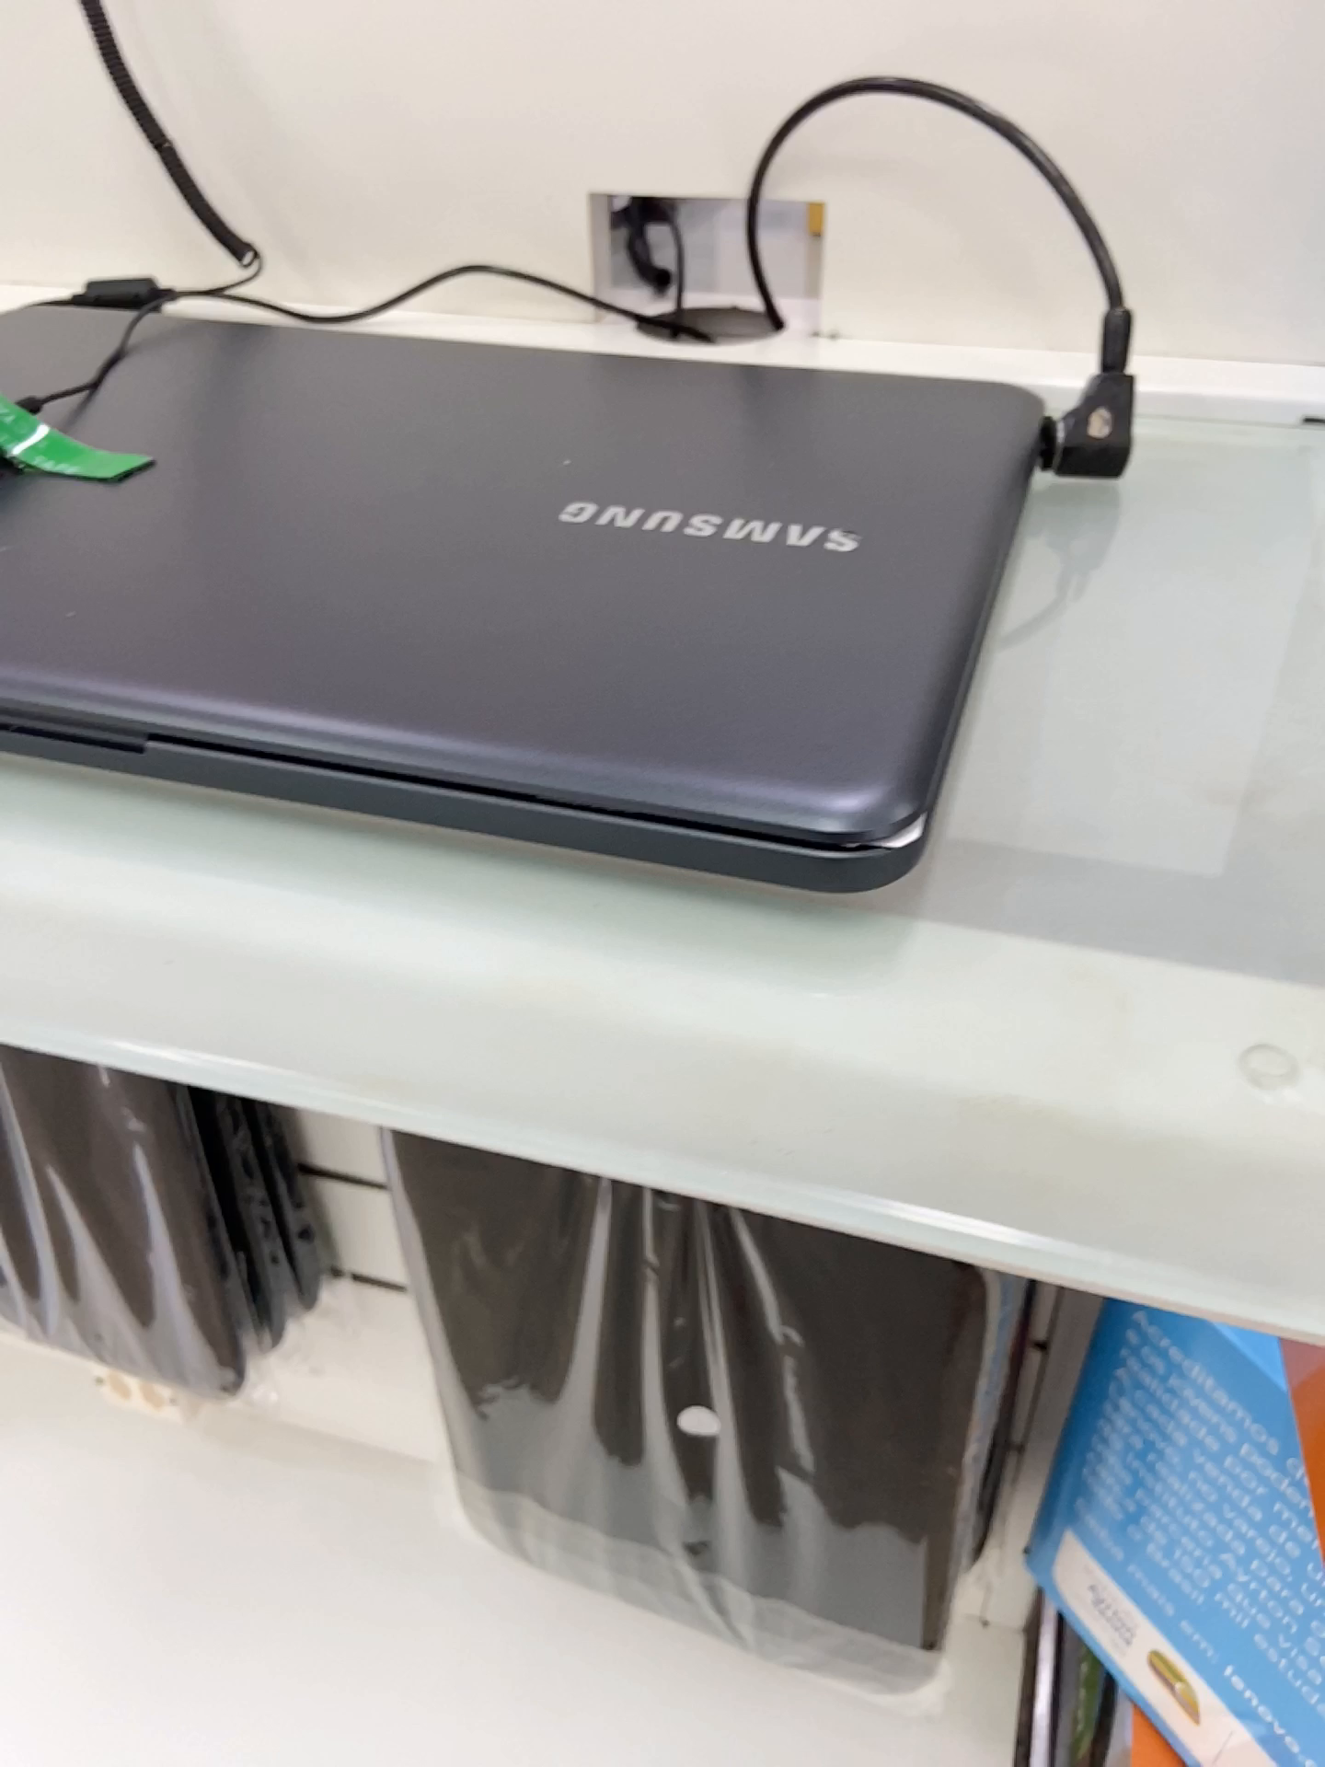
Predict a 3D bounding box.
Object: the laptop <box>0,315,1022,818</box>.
[{"bbox_3d":[-0.096,-0.108,0.365,0.350,0.001,0.233,10,39,15],"label":"laptop"}]
